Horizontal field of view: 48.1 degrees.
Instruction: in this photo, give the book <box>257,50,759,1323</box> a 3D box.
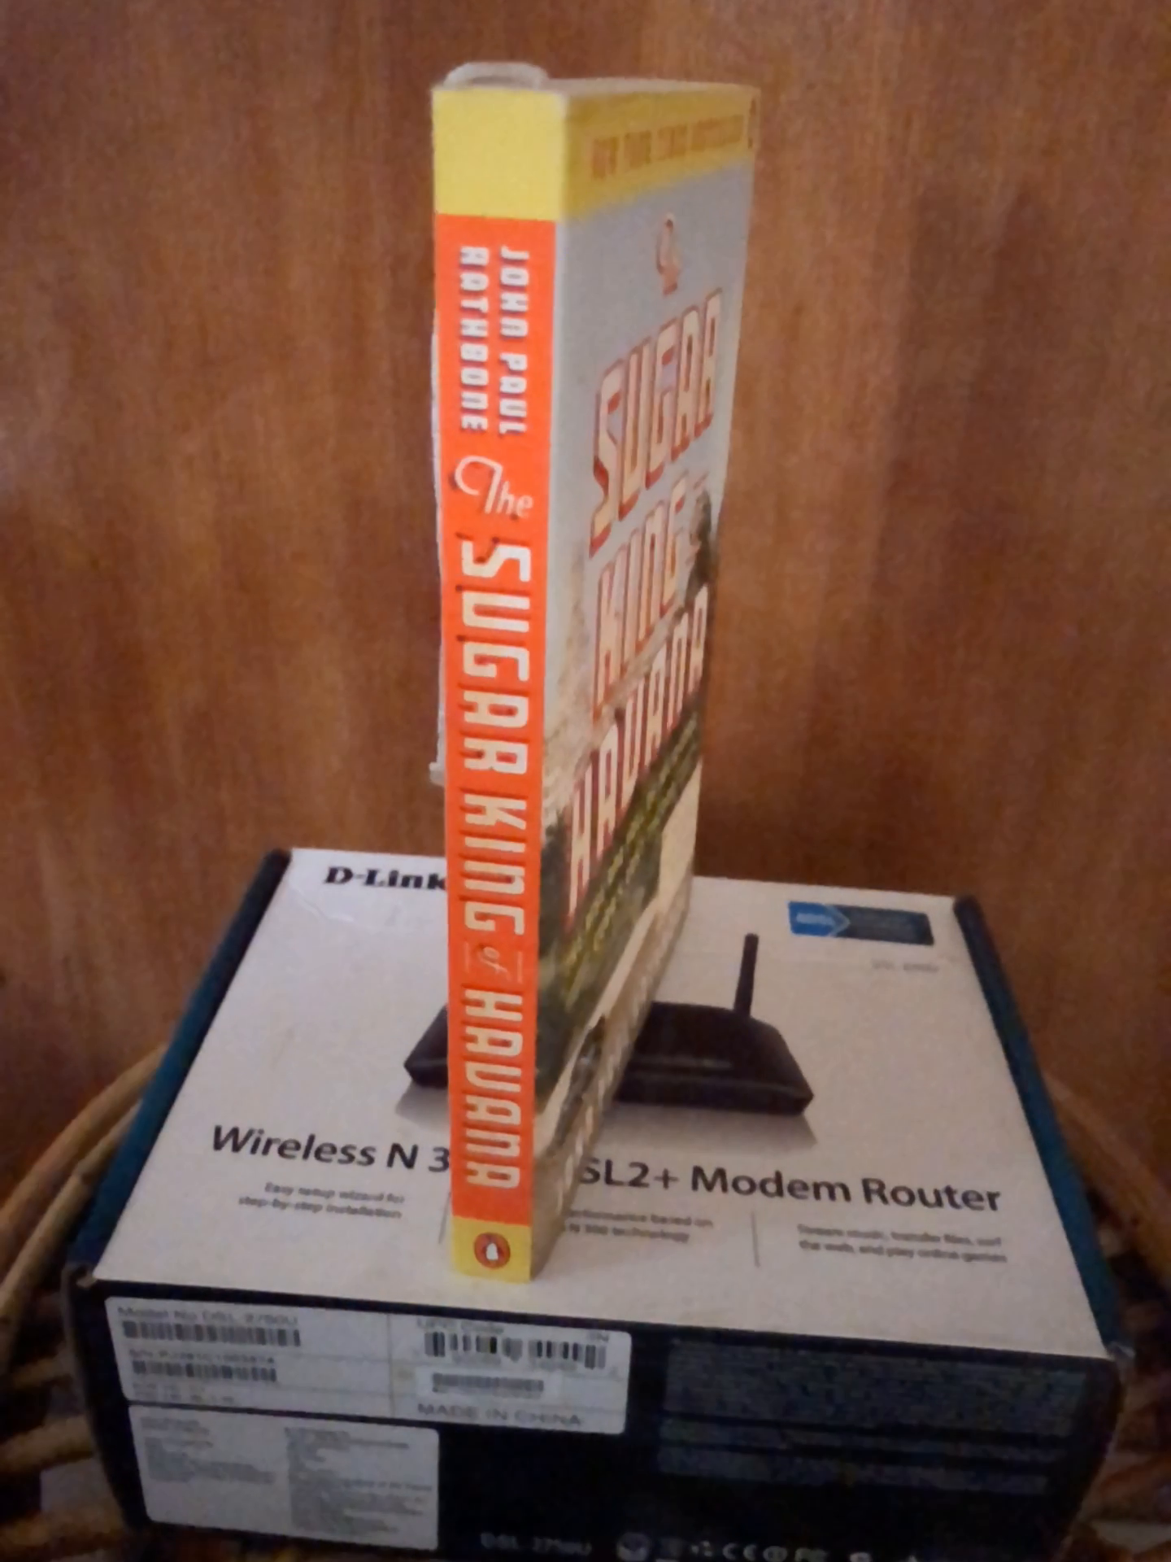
[{"bbox_3d":[-0.001,-0.026,0.264,0.030,0.209,0.151,9,31,15],"label":"book"}]
